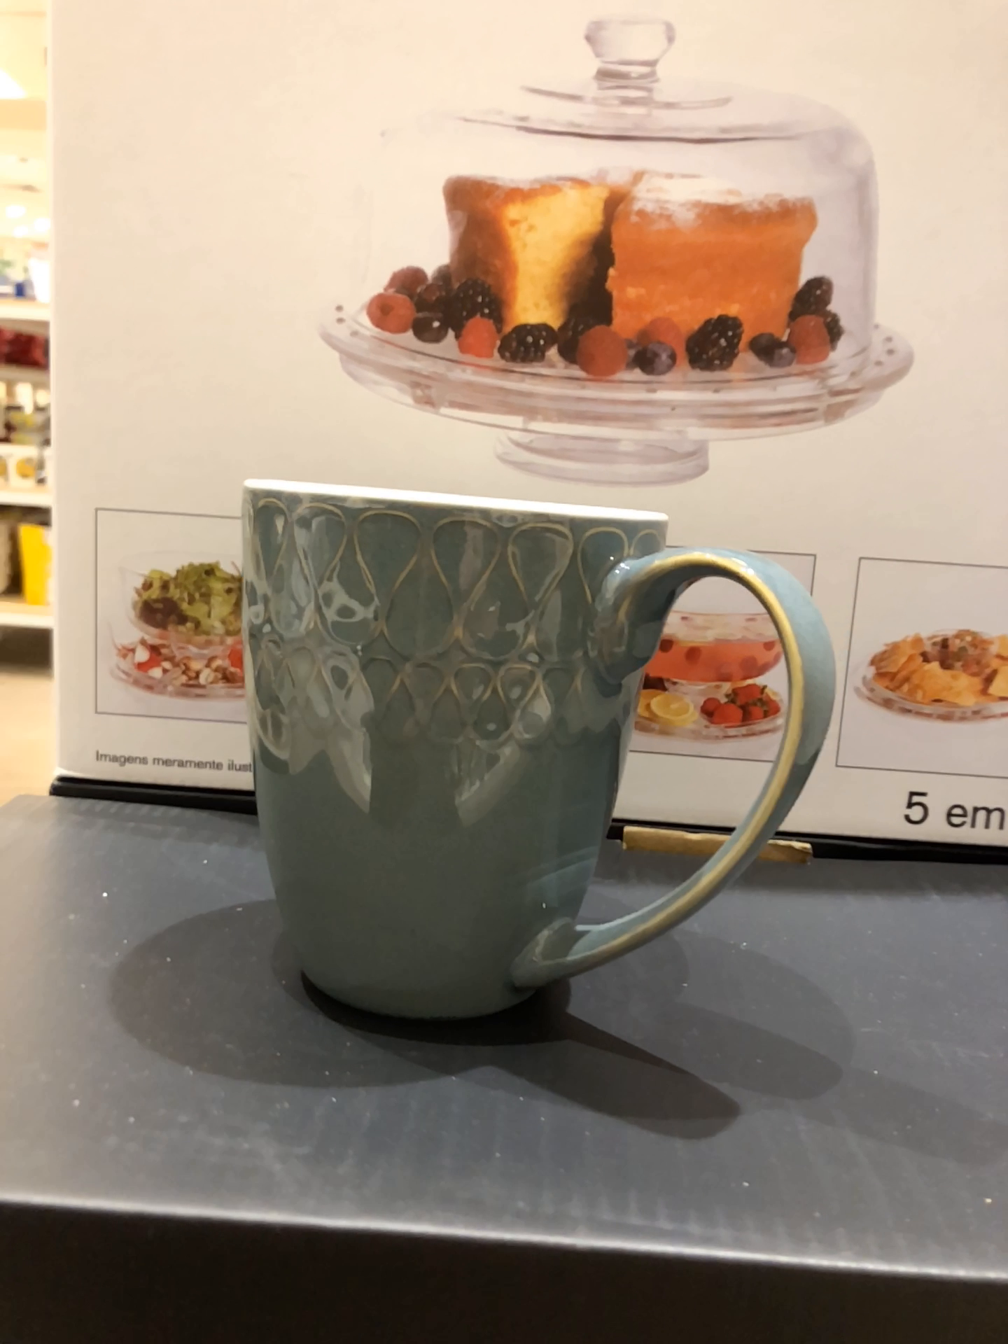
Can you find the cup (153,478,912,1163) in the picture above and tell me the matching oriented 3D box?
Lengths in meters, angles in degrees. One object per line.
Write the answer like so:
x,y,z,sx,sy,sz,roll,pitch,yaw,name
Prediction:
0.007,0.014,0.240,0.130,0.100,0.090,9,13,26,cup
